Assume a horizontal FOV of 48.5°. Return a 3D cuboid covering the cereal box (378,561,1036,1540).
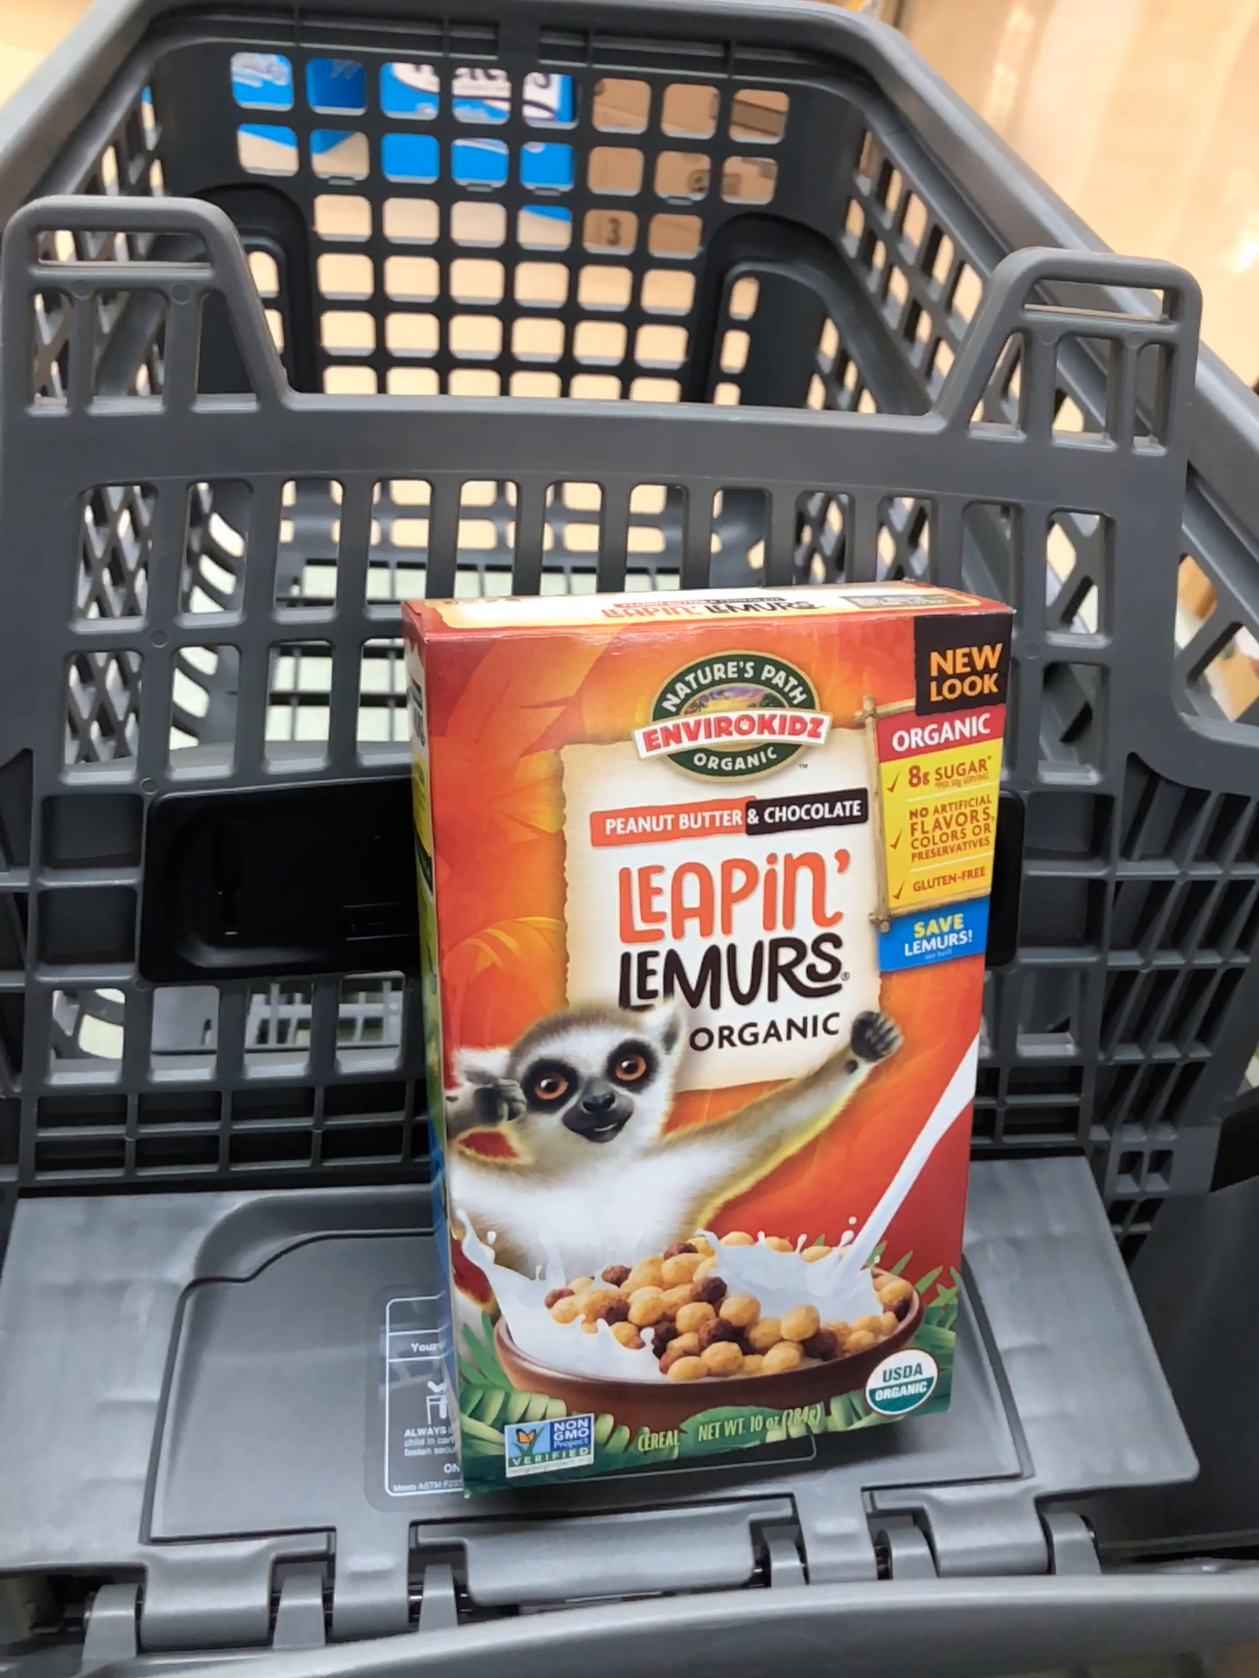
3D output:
[{"bbox_3d":[0.018,0.057,0.405,0.160,0.260,0.070,-5,17,-12],"label":"cereal box"}]
